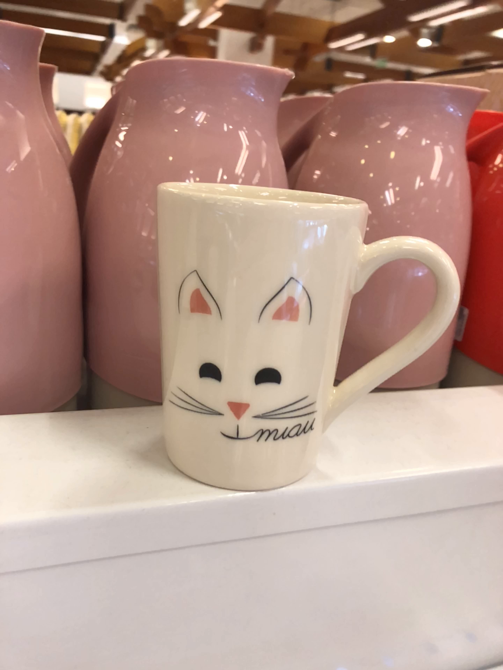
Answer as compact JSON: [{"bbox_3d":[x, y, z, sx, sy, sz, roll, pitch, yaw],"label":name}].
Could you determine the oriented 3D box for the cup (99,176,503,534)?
[{"bbox_3d":[0.010,0.001,0.203,0.110,0.099,0.080,4,17,-3],"label":"cup"}]
